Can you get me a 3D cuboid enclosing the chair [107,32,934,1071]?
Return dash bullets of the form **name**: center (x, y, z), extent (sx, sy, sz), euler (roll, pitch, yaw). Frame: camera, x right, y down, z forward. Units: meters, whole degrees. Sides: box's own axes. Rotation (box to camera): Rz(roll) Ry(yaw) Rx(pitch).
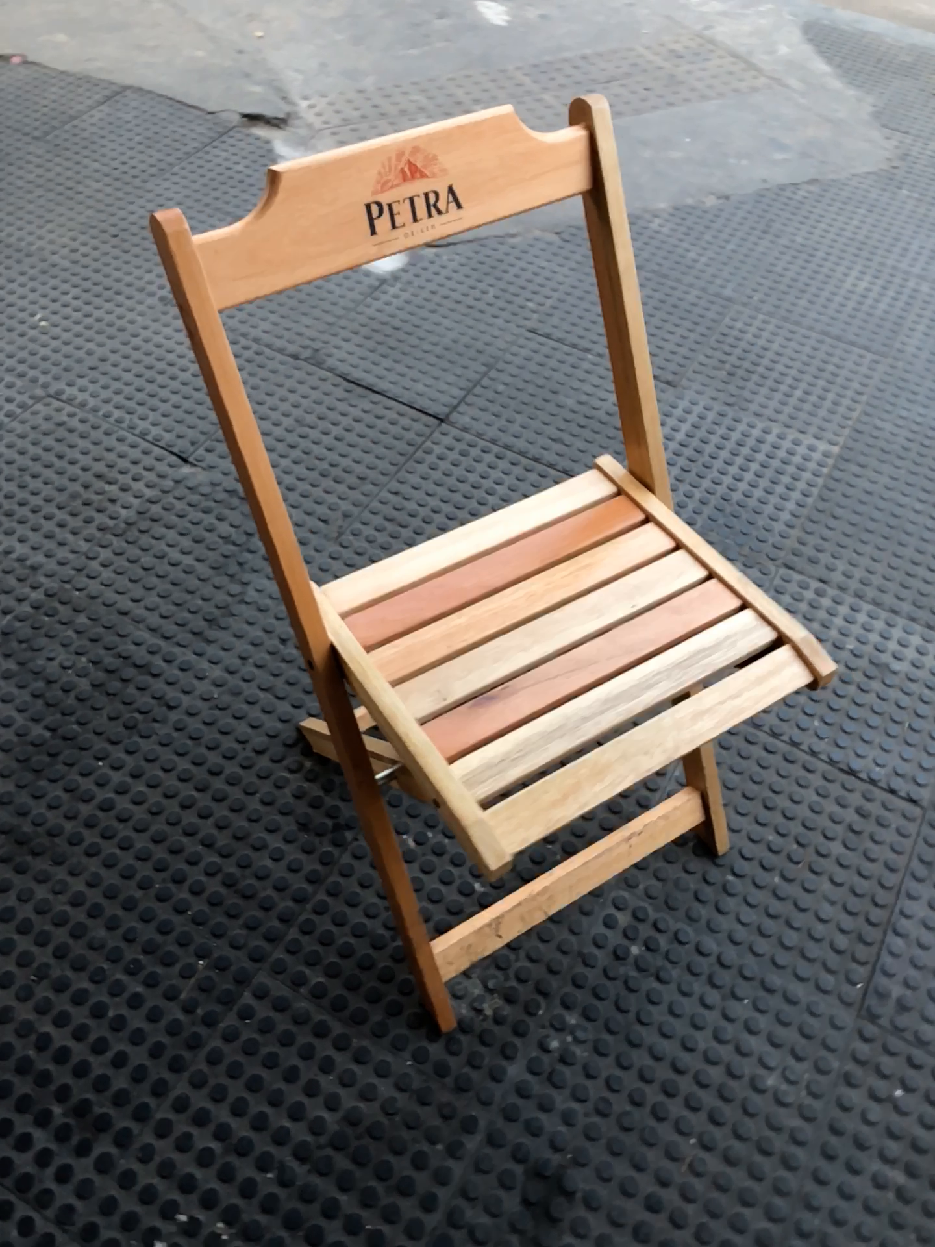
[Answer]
- **chair**: center (0.062, -0.028, 1.001), extent (0.481, 0.755, 0.502), euler (-26, 57, -21)
